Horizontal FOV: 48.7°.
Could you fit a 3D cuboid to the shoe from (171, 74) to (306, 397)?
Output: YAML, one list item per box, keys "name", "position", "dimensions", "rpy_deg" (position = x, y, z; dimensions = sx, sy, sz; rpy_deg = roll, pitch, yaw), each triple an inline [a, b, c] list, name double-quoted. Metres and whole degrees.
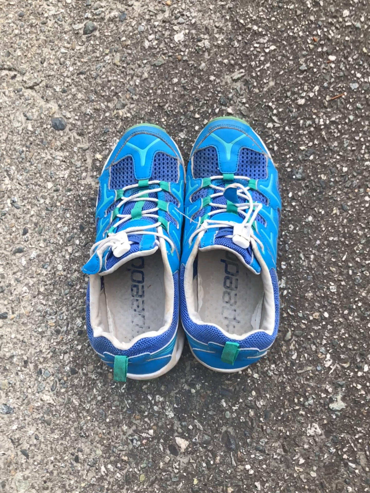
- name: "shoe"
  position: [0.043, -0.009, 0.362]
  dimensions: [0.100, 0.090, 0.250]
  rpy_deg: [0, 84, 5]

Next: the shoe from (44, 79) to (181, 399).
- name: "shoe"
  position: [-0.058, -0.007, 0.379]
  dimensions: [0.100, 0.090, 0.260]
  rpy_deg: [0, 84, 5]
